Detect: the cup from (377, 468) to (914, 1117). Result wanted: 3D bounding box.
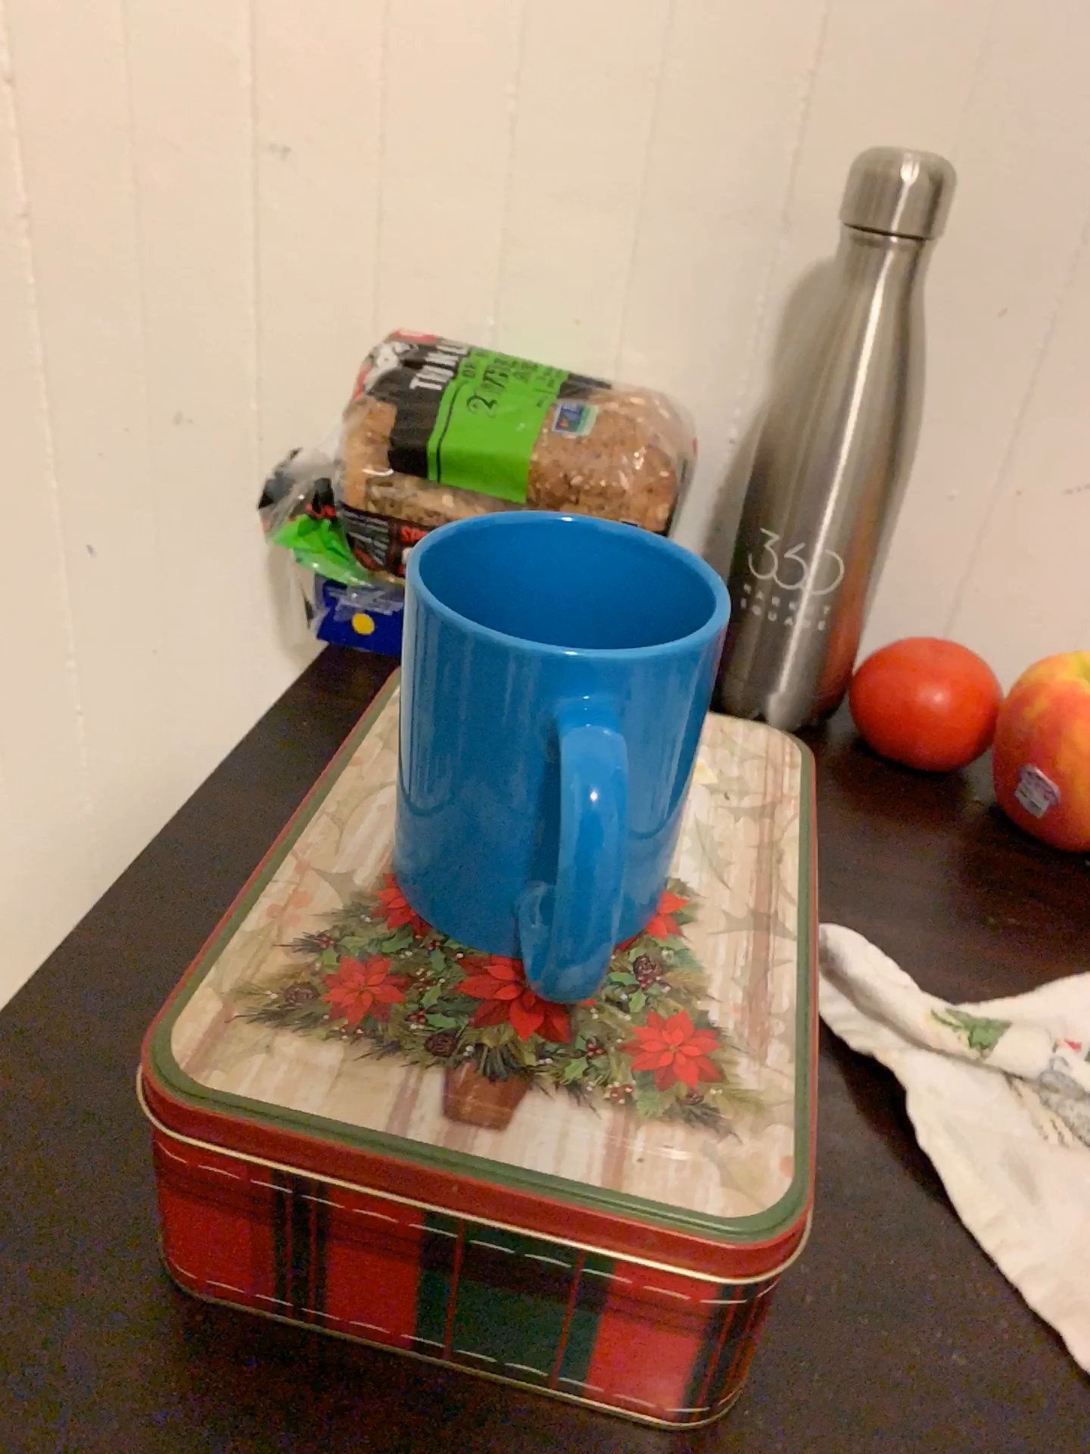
[{"bbox_3d":[0.009,0.008,0.284,0.090,0.099,0.131,0,33,-12],"label":"cup"}]
